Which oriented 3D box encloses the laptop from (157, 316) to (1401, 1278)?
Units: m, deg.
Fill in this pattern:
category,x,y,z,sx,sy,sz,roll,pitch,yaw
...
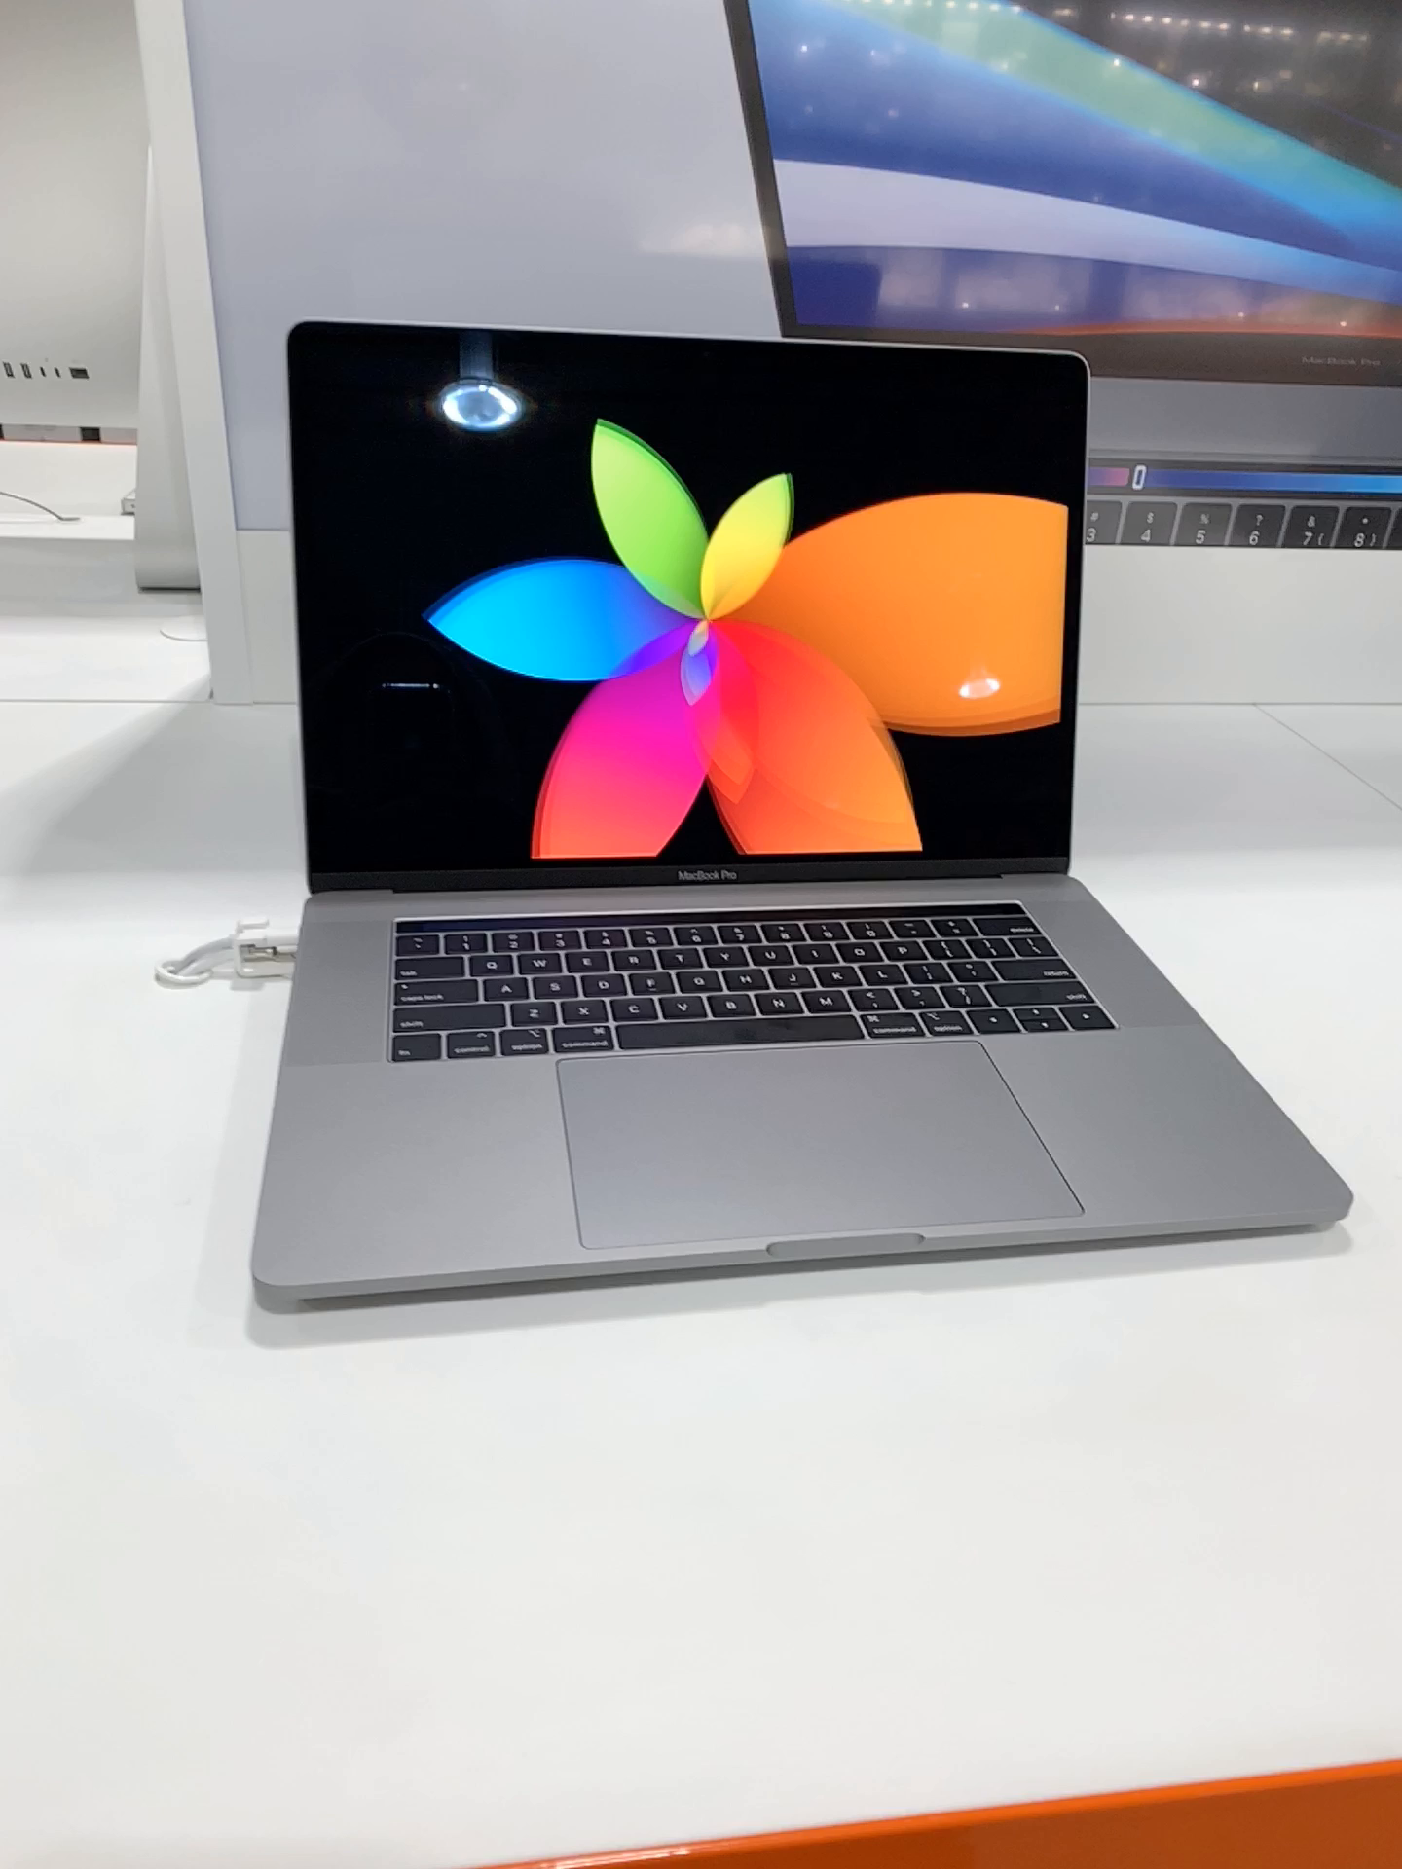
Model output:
category,x,y,z,sx,sy,sz,roll,pitch,yaw
laptop,0.021,-0.075,0.497,0.330,0.205,0.304,-1,29,-11
